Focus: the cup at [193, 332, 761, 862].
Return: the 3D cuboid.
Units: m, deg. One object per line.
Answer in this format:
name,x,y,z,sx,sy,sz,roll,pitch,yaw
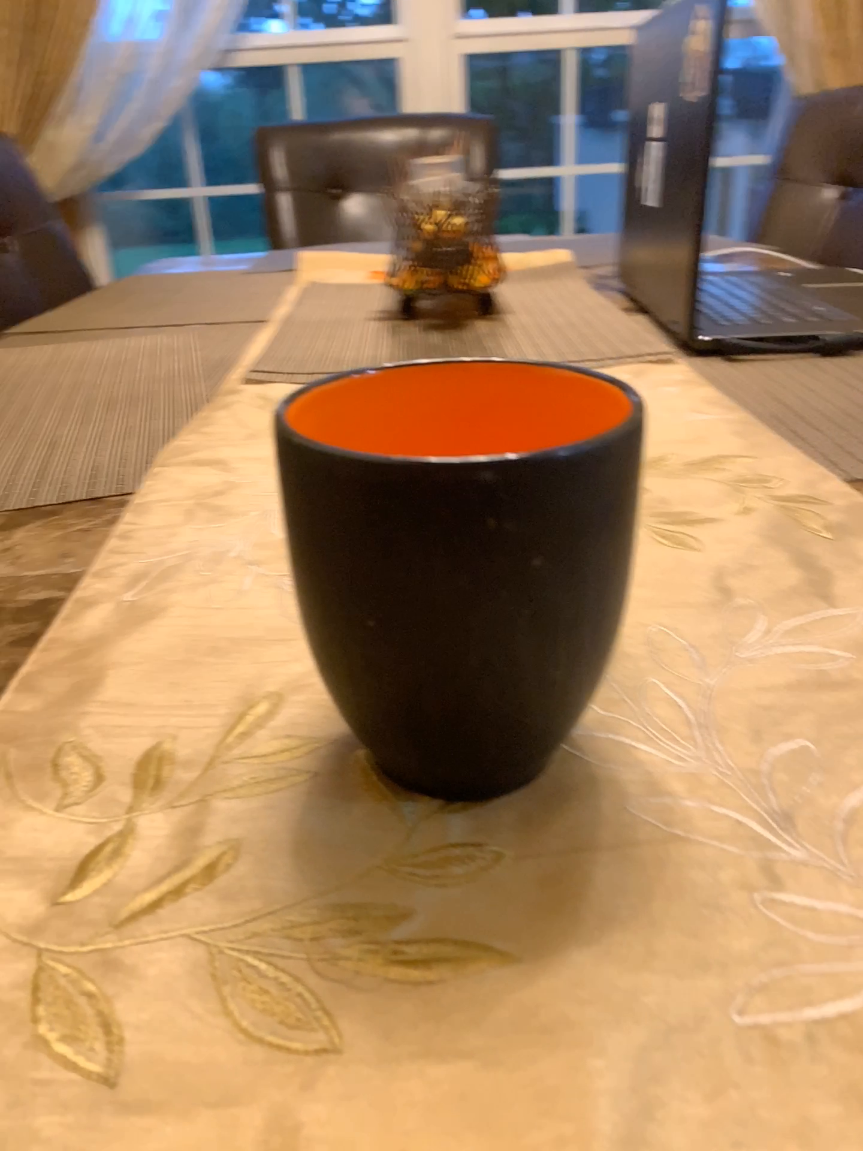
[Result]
cup,0.022,-0.011,0.258,0.099,0.087,0.133,14,30,31
